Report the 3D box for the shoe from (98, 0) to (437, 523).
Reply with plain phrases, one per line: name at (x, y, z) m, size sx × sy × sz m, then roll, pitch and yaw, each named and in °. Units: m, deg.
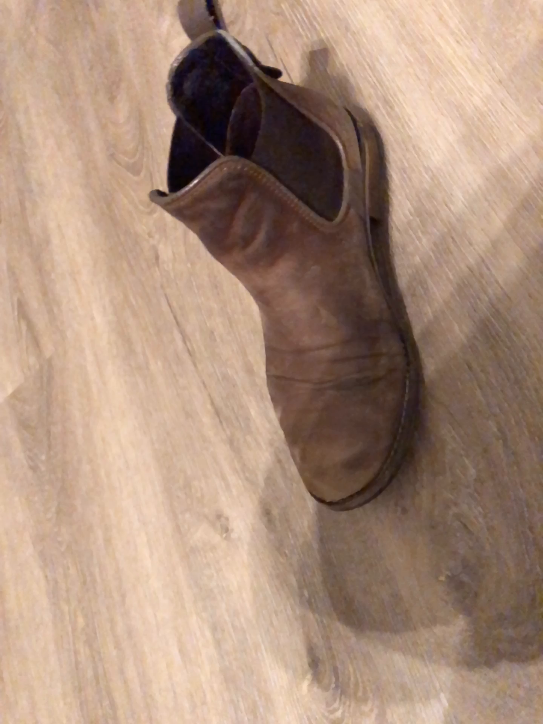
shoe at (-0.002, -0.045, 0.322) m, size 0.100 × 0.139 × 0.240 m, roll -12°, pitch 75°, yaw 36°
